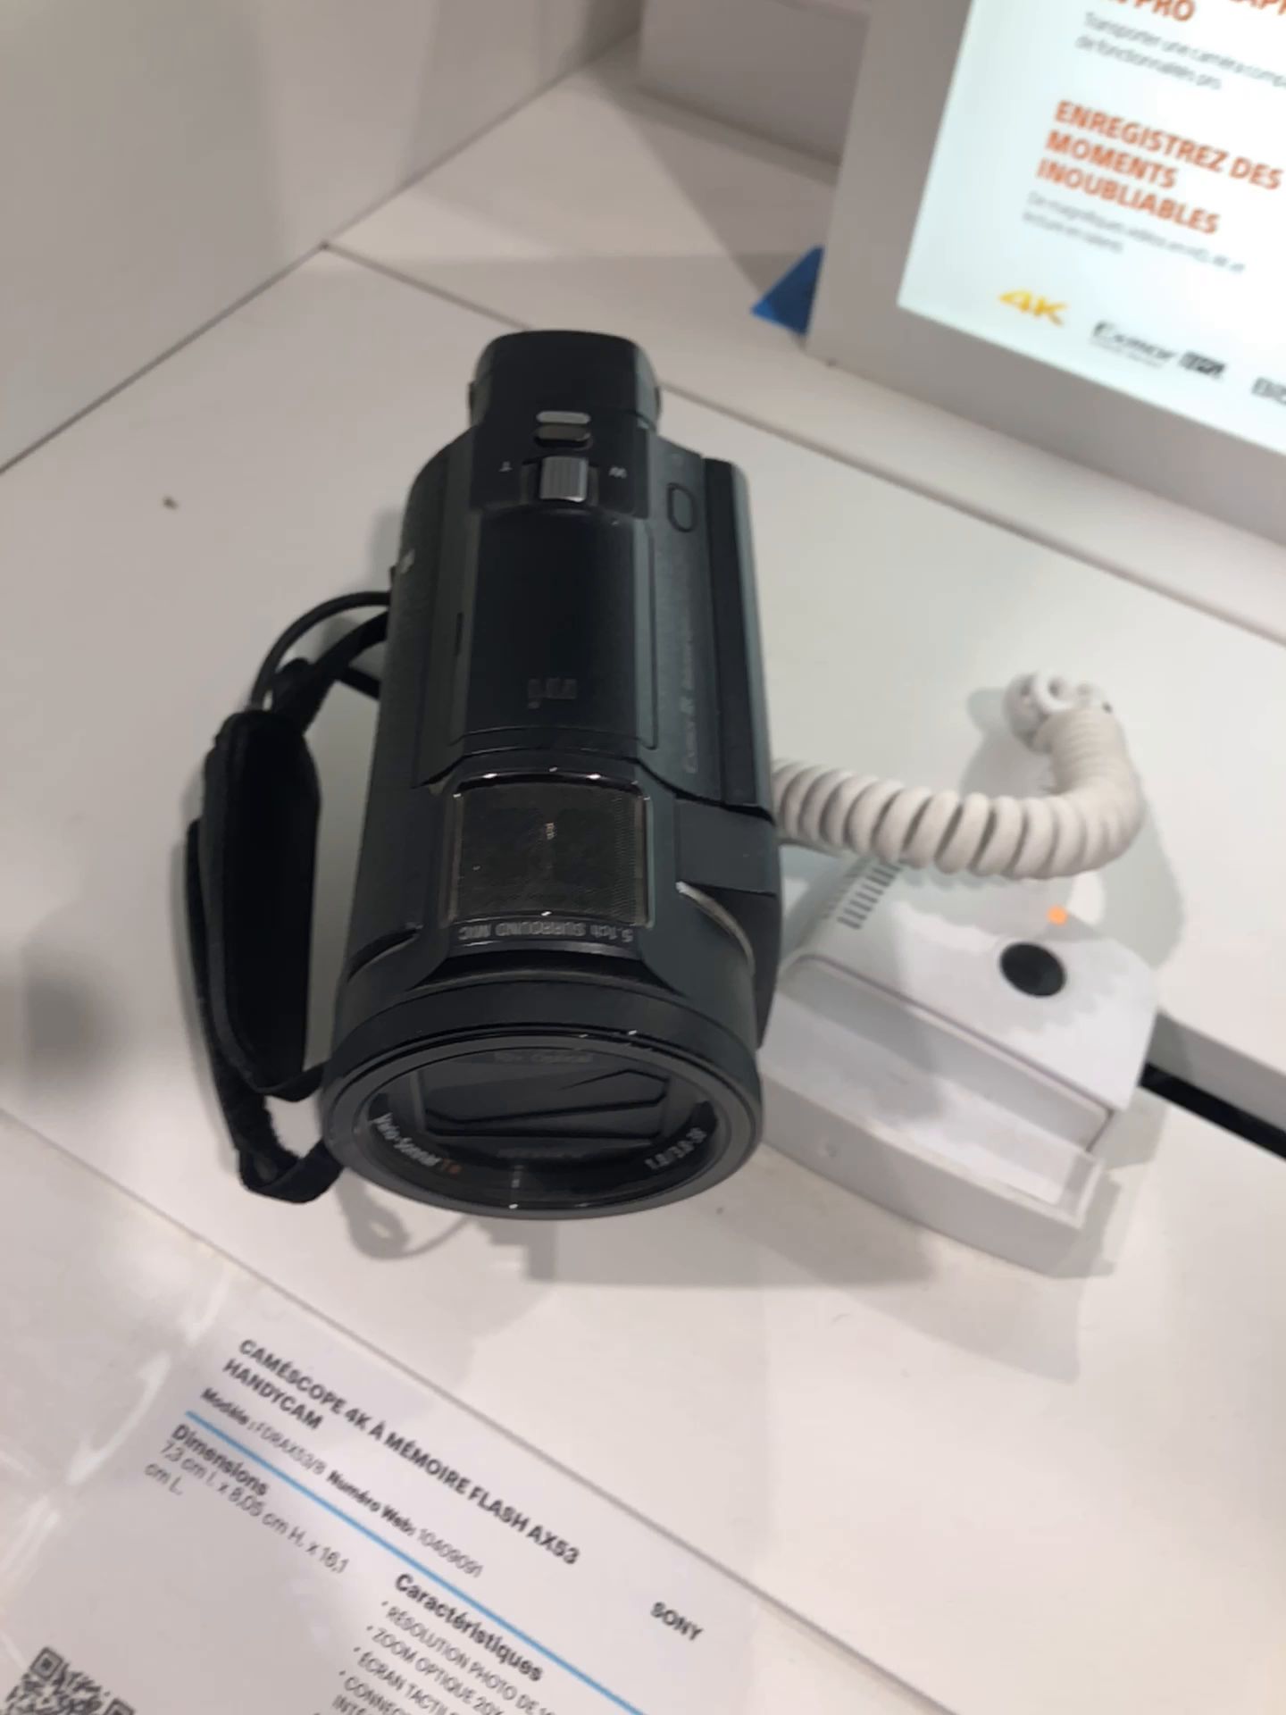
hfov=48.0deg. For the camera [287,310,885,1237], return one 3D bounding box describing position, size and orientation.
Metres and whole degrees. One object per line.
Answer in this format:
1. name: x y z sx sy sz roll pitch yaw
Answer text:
1. camera: -0.012 -0.020 0.249 0.073 0.070 0.149 1 51 -5
